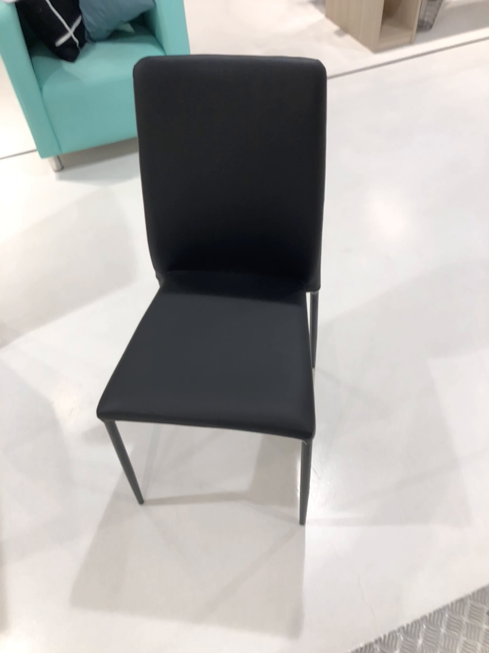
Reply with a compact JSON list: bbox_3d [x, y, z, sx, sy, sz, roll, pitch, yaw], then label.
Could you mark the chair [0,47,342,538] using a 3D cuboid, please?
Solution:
[{"bbox_3d":[-0.056,-0.023,1.163,0.450,0.865,0.603,4,50,7],"label":"chair"}]
